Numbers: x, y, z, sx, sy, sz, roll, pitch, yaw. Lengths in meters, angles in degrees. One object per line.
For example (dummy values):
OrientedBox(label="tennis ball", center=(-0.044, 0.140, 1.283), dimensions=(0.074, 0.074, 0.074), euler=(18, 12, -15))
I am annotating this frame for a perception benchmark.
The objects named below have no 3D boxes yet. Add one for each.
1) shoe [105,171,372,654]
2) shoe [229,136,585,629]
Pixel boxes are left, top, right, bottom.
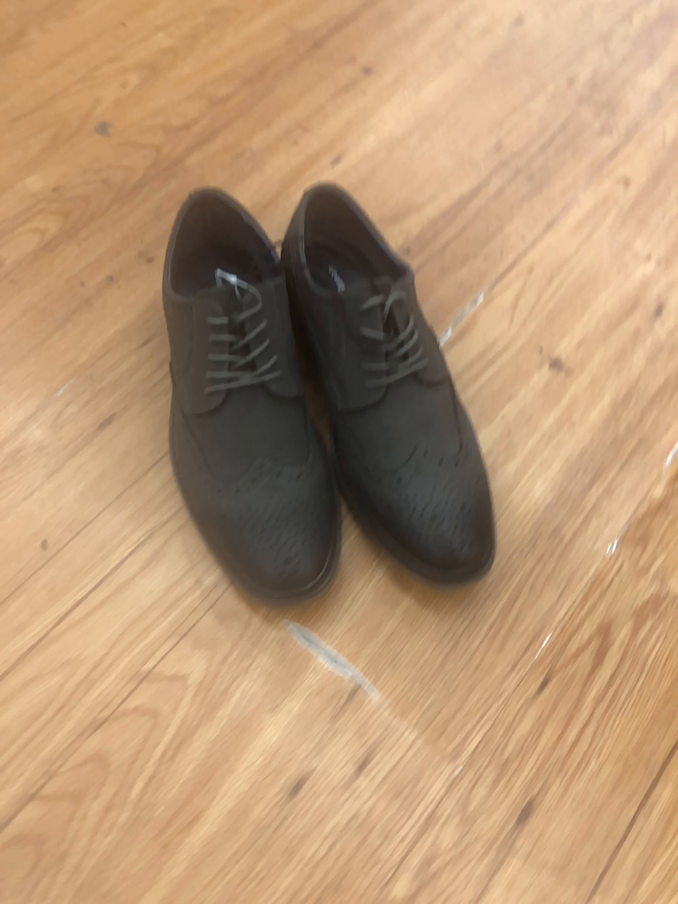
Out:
OrientedBox(label="shoe", center=(-0.070, -0.033, 0.483), dimensions=(0.110, 0.110, 0.280), euler=(-10, 63, -8))
OrientedBox(label="shoe", center=(0.025, -0.051, 0.475), dimensions=(0.110, 0.110, 0.280), euler=(-16, 64, -10))
